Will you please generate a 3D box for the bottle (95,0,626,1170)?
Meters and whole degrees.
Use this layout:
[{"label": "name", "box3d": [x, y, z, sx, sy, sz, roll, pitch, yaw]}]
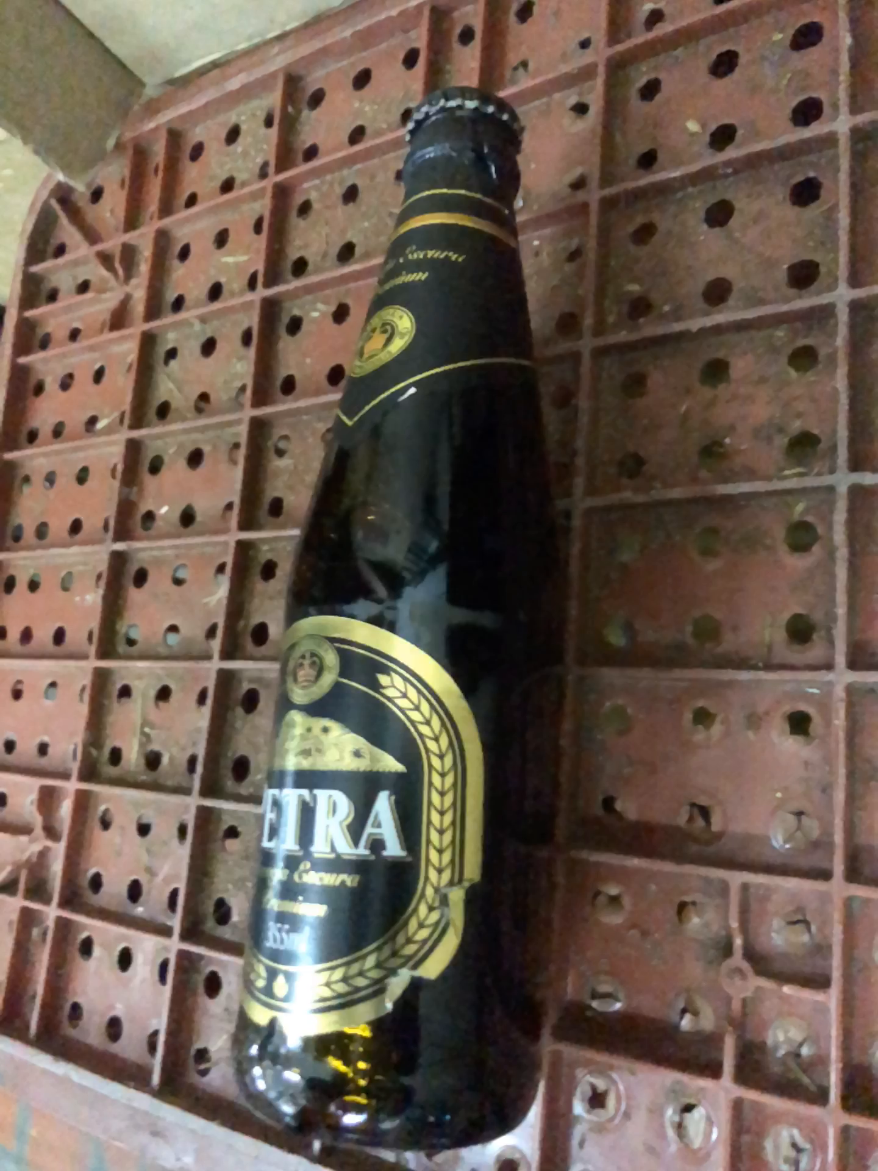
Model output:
[{"label": "bottle", "box3d": [-0.008, -0.011, 0.211, 0.070, 0.060, 0.250, -5, 74, 34]}]
